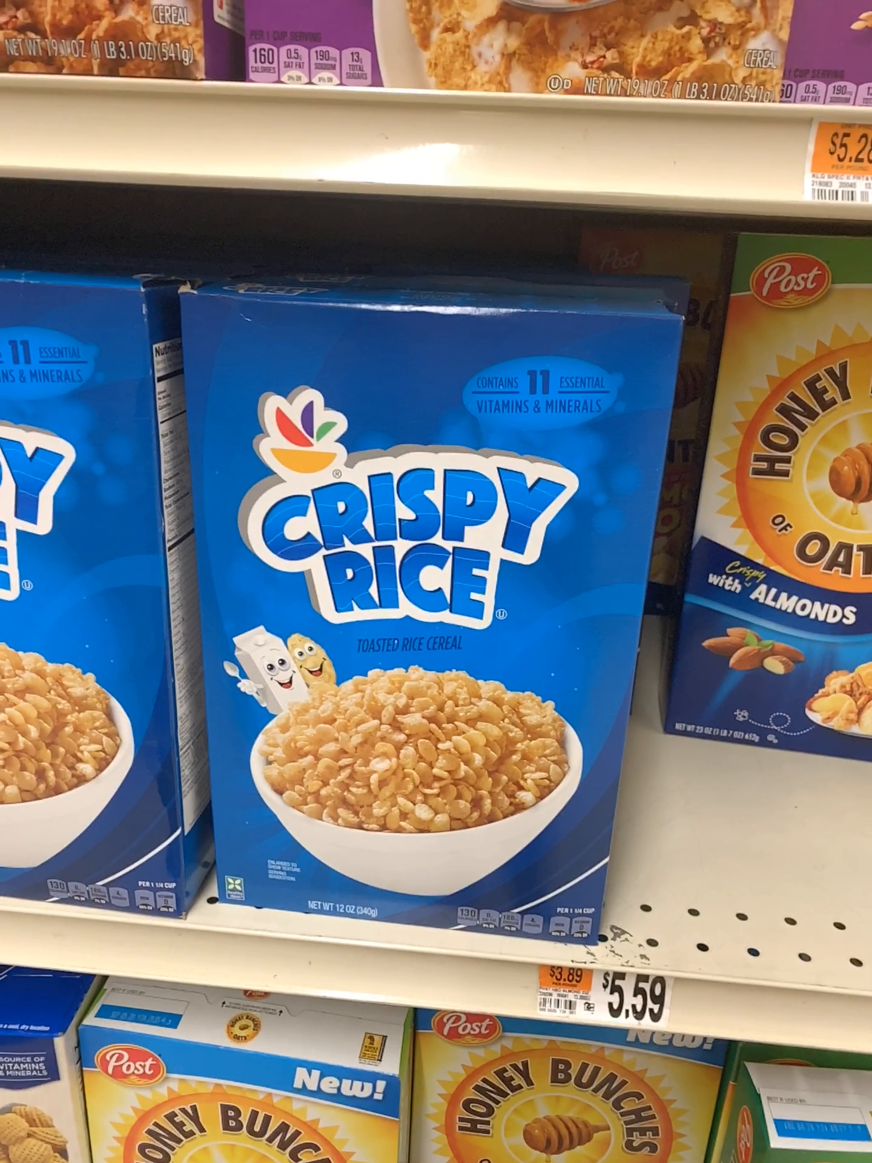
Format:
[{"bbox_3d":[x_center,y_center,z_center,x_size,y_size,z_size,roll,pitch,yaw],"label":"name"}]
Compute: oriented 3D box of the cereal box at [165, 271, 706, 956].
[{"bbox_3d":[-0.006,0.024,0.438,0.210,0.318,0.070,4,23,4],"label":"cereal box"}]
